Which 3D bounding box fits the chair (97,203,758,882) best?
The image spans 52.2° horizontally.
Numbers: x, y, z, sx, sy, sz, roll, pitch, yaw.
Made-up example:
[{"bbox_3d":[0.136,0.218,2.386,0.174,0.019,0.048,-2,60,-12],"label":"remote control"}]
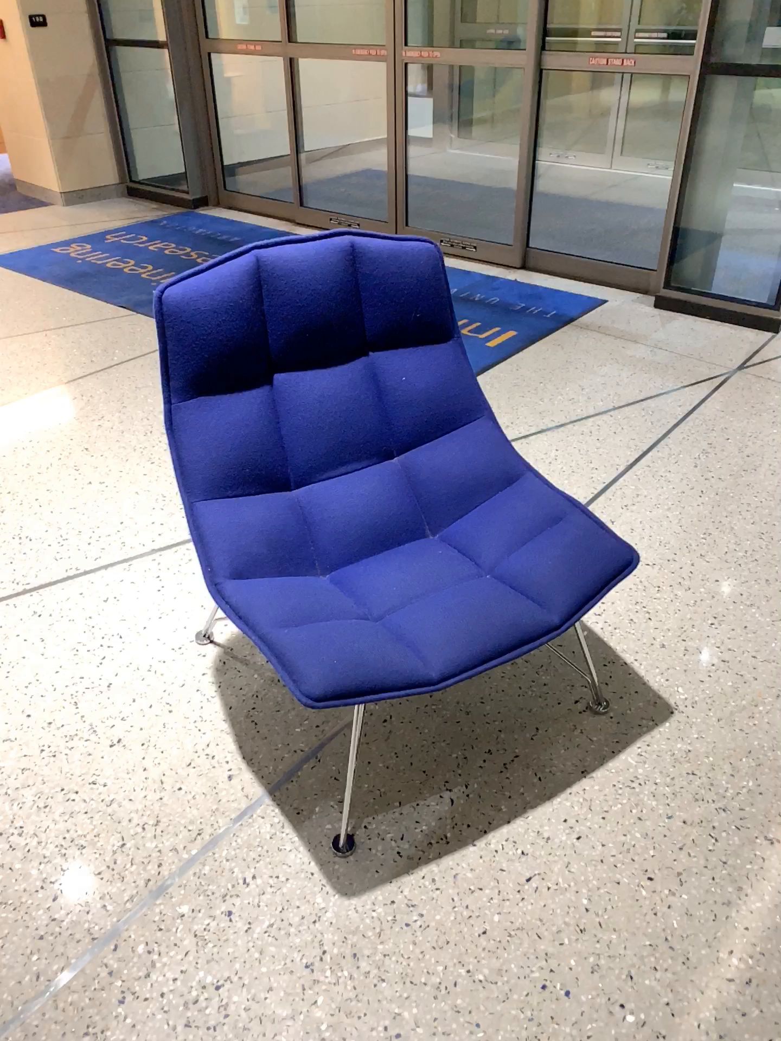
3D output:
[{"bbox_3d":[0.025,-0.053,1.627,0.856,0.893,0.799,-19,37,-25],"label":"chair"}]
